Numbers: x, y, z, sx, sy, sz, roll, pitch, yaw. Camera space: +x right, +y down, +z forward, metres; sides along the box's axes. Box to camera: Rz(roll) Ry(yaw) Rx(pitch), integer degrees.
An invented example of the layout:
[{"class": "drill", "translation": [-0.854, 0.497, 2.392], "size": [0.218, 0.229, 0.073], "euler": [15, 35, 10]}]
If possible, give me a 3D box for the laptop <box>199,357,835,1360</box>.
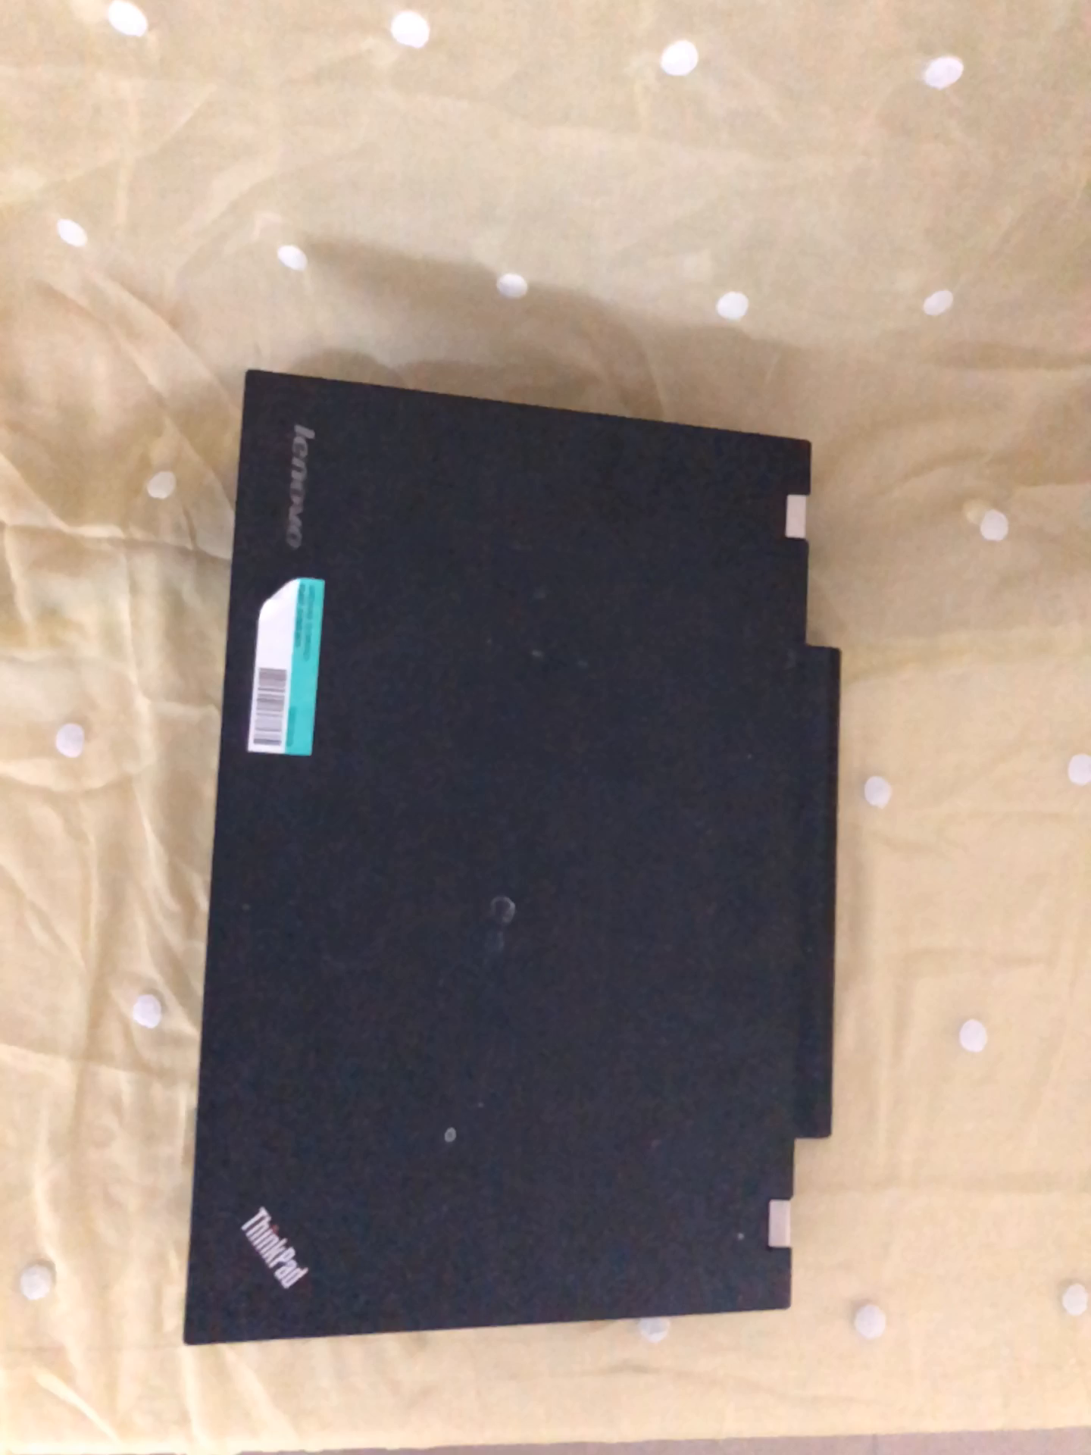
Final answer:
[{"class": "laptop", "translation": [-0.009, 0.048, 0.487], "size": [0.225, 0.050, 0.355], "euler": [4, 86, 0]}]
